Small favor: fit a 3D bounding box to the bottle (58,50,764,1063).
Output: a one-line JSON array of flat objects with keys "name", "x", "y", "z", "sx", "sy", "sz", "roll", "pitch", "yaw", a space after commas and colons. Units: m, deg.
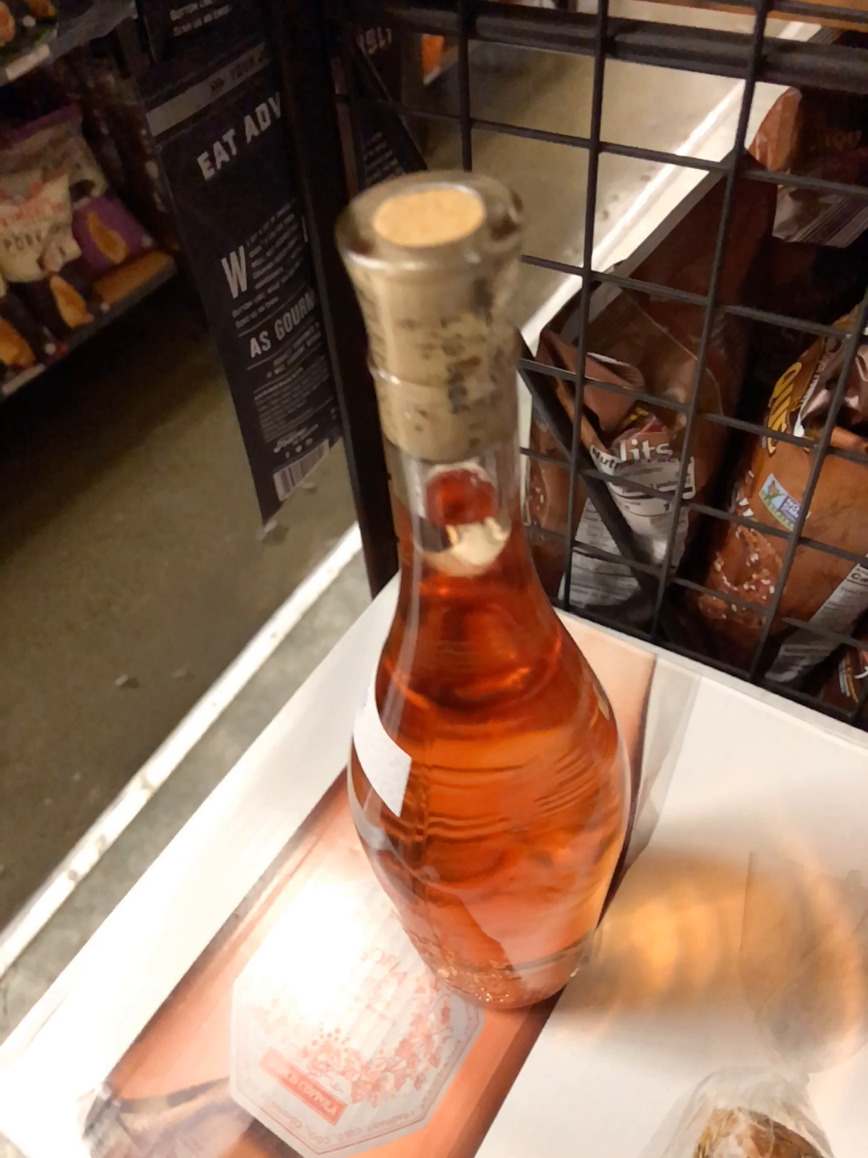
[{"name": "bottle", "x": 0.009, "y": 0.033, "z": 0.268, "sx": 0.090, "sy": 0.299, "sz": 0.080, "roll": 15, "pitch": 52, "yaw": 18}]
